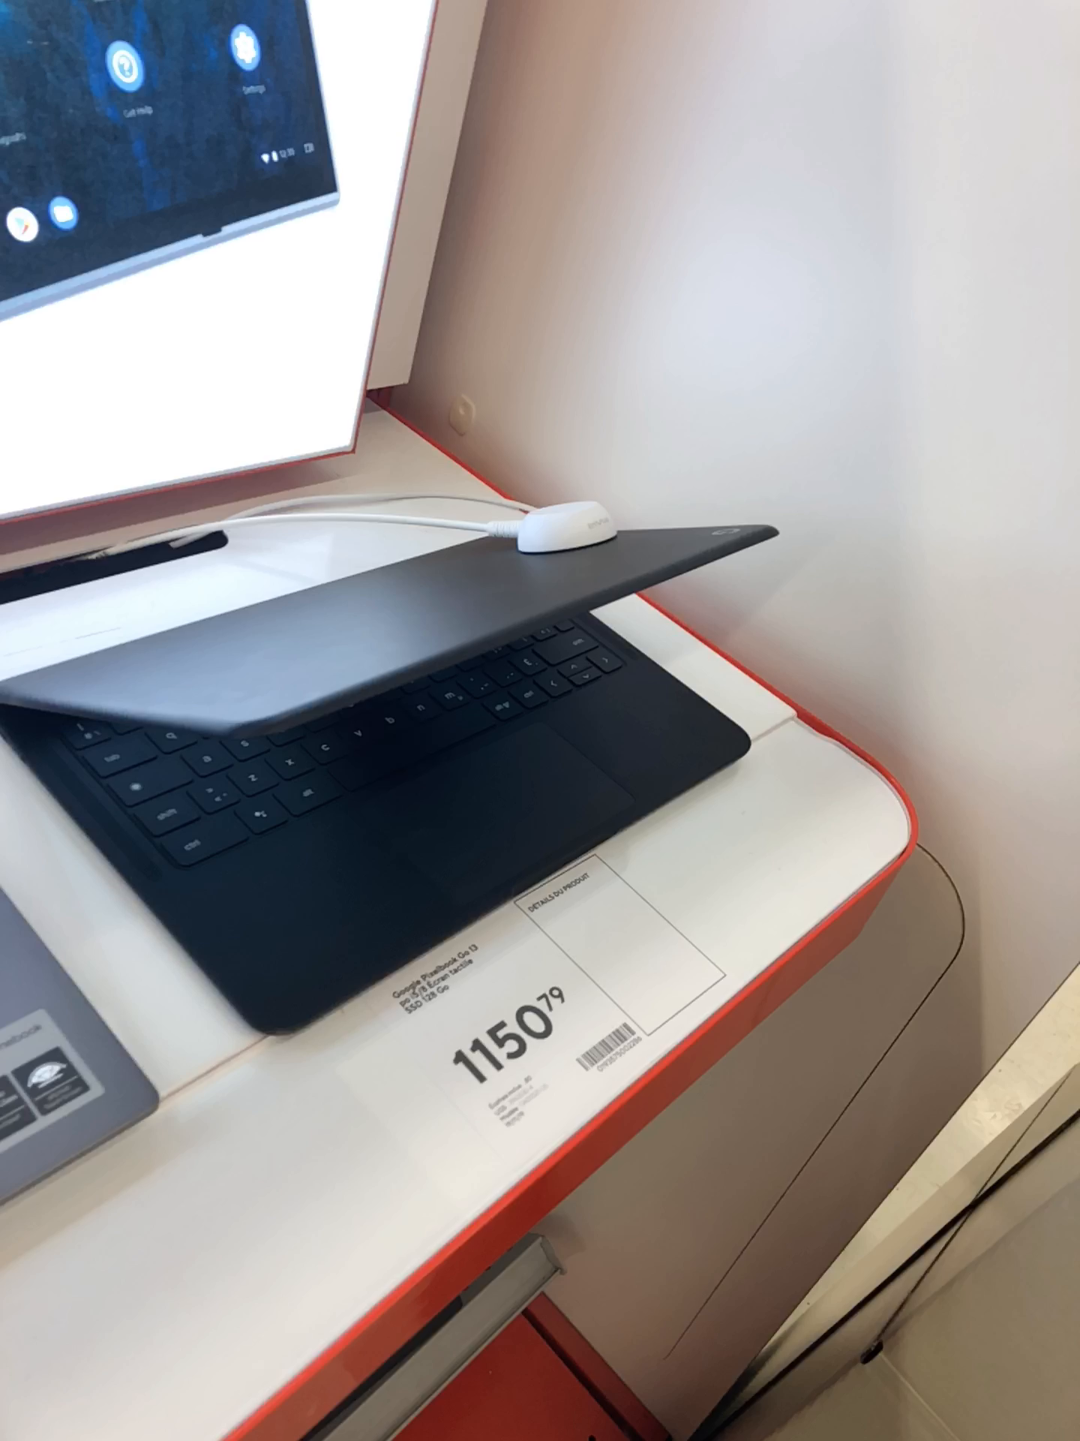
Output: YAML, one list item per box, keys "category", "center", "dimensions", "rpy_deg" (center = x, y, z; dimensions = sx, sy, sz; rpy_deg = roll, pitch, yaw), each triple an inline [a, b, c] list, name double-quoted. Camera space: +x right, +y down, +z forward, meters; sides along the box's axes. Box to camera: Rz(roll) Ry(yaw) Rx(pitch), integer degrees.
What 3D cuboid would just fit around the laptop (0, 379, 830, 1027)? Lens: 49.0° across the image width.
- category: "laptop"
  center: [-0.048, -0.039, 0.521]
  dimensions: [0.199, 0.106, 0.299]
  rpy_deg: [39, 41, 25]
